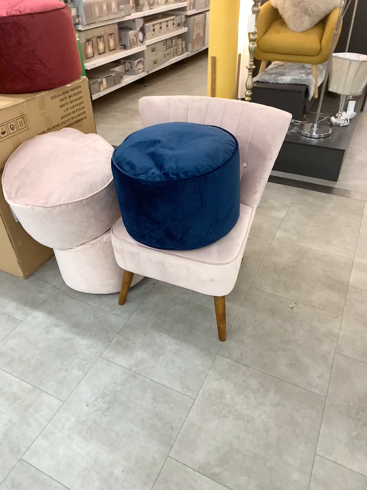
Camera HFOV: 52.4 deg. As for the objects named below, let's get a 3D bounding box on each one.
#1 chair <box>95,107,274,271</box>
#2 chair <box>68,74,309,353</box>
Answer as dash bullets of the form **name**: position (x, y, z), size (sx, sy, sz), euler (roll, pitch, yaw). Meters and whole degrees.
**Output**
- **chair**: position (0.028, -0.256, 1.465), size (0.476, 0.363, 0.508), euler (17, 41, 23)
- **chair**: position (0.079, -0.186, 1.648), size (0.656, 0.848, 0.750), euler (15, 40, 20)
